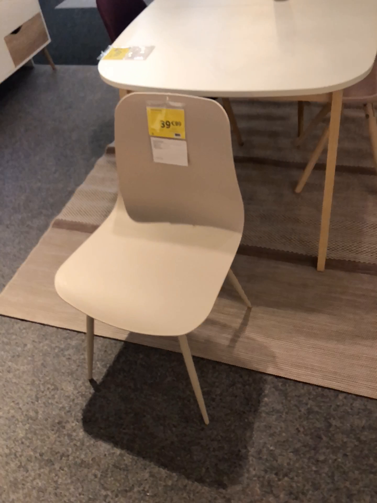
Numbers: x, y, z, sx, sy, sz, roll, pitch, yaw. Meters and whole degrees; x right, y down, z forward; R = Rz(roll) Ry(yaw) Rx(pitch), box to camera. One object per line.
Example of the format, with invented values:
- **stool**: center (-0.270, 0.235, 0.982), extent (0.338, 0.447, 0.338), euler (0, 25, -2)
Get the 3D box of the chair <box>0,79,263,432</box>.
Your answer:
- **chair**: center (-0.106, 0.028, 1.142), extent (0.500, 0.766, 0.503), euler (10, 49, 18)
